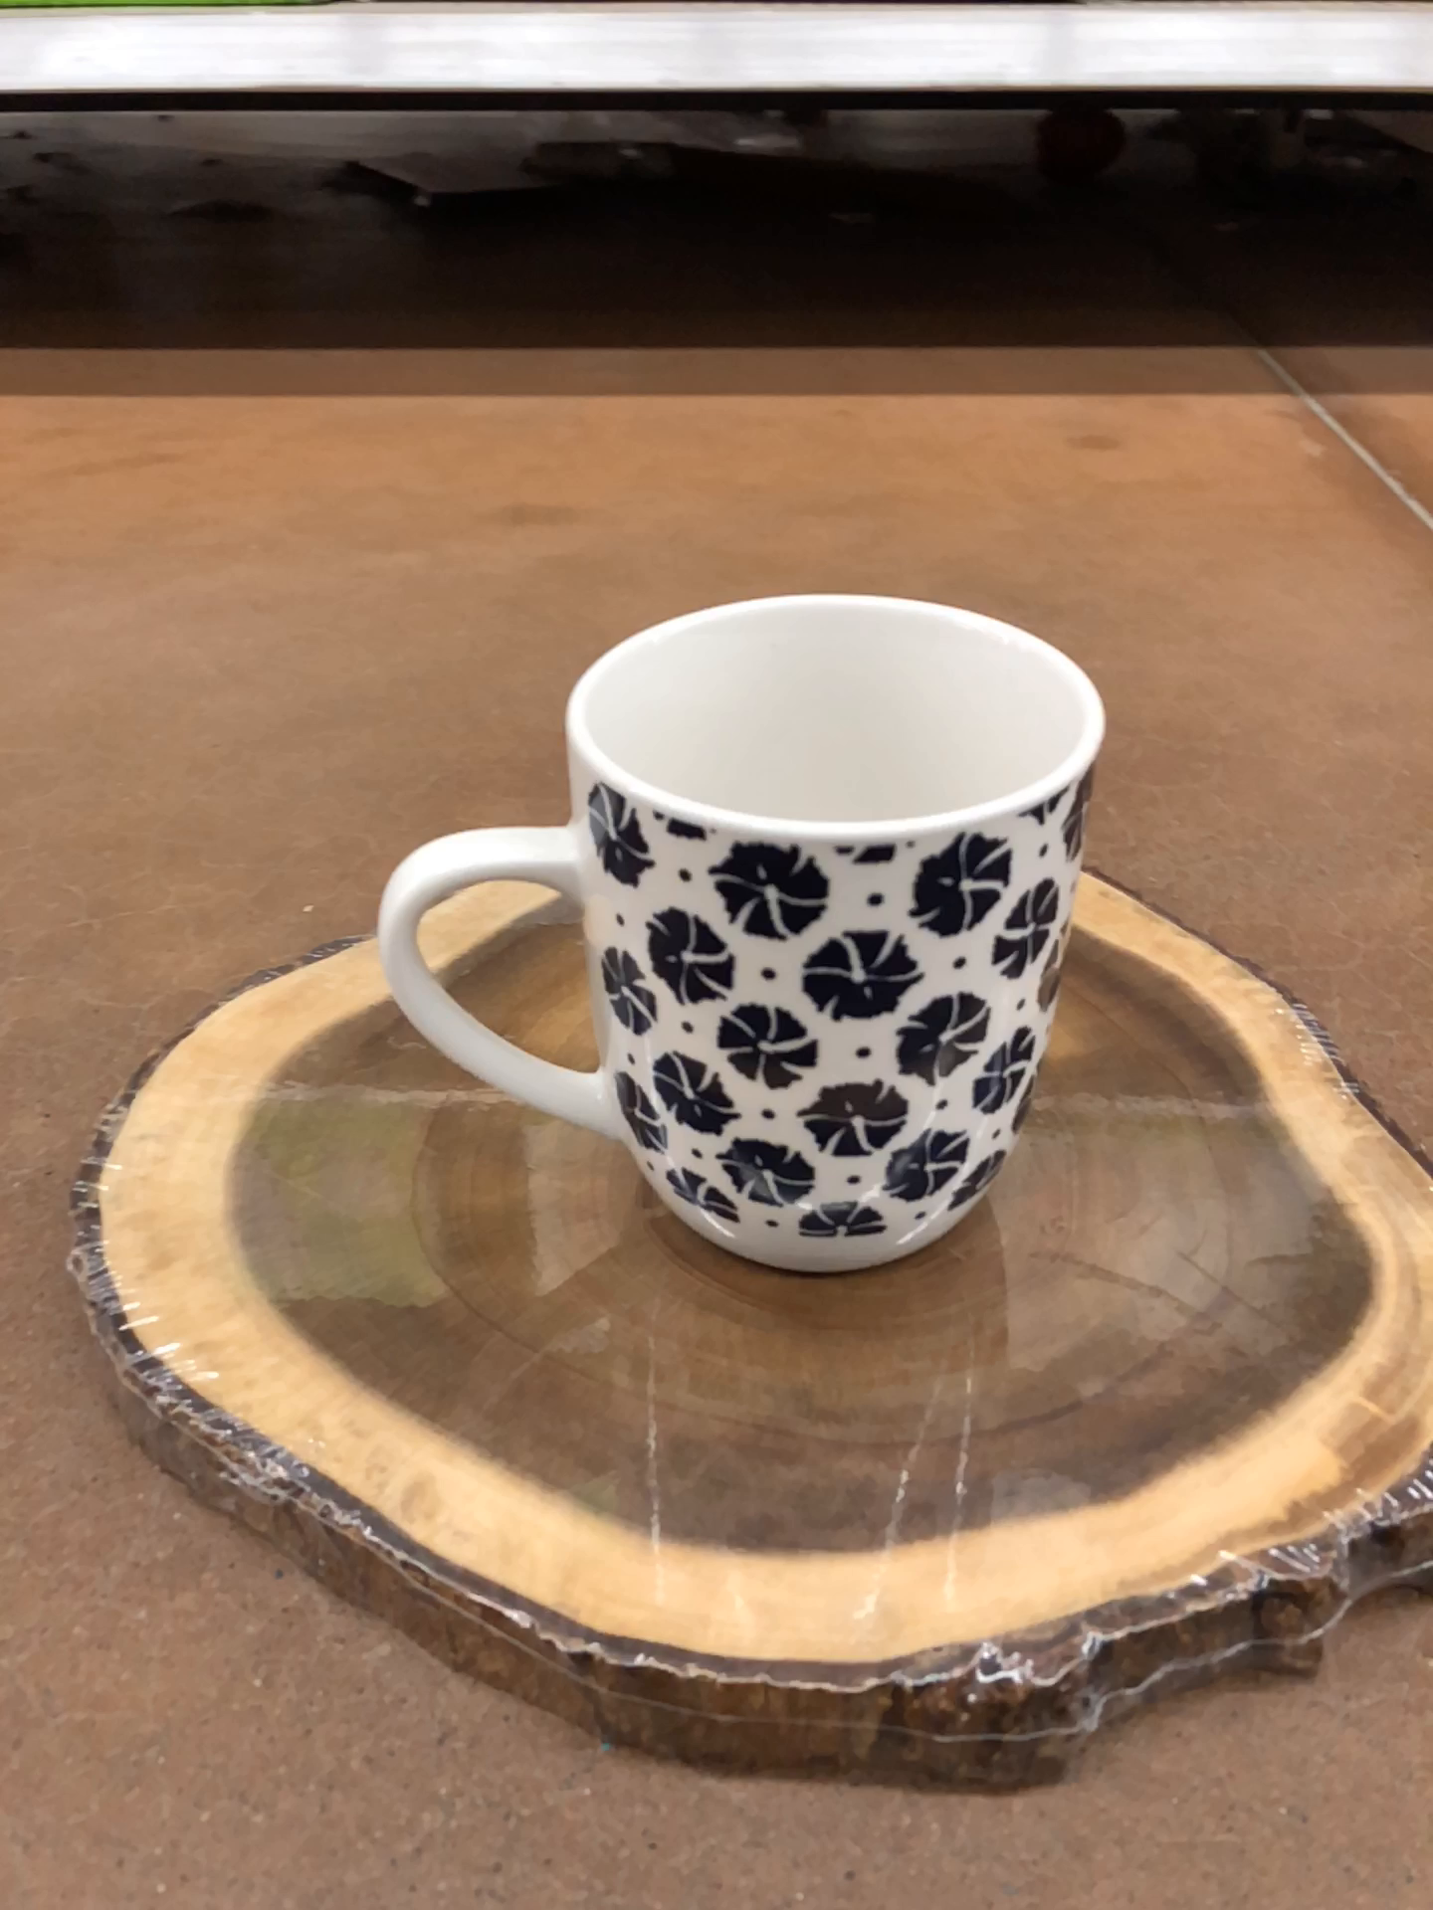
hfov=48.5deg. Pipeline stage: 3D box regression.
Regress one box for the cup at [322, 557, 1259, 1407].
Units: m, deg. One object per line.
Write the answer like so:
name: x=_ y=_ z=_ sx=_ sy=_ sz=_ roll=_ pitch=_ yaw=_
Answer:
cup: x=0.006 y=-0.001 z=0.285 sx=0.130 sy=0.100 sz=0.090 roll=-9 pitch=35 yaw=-13
